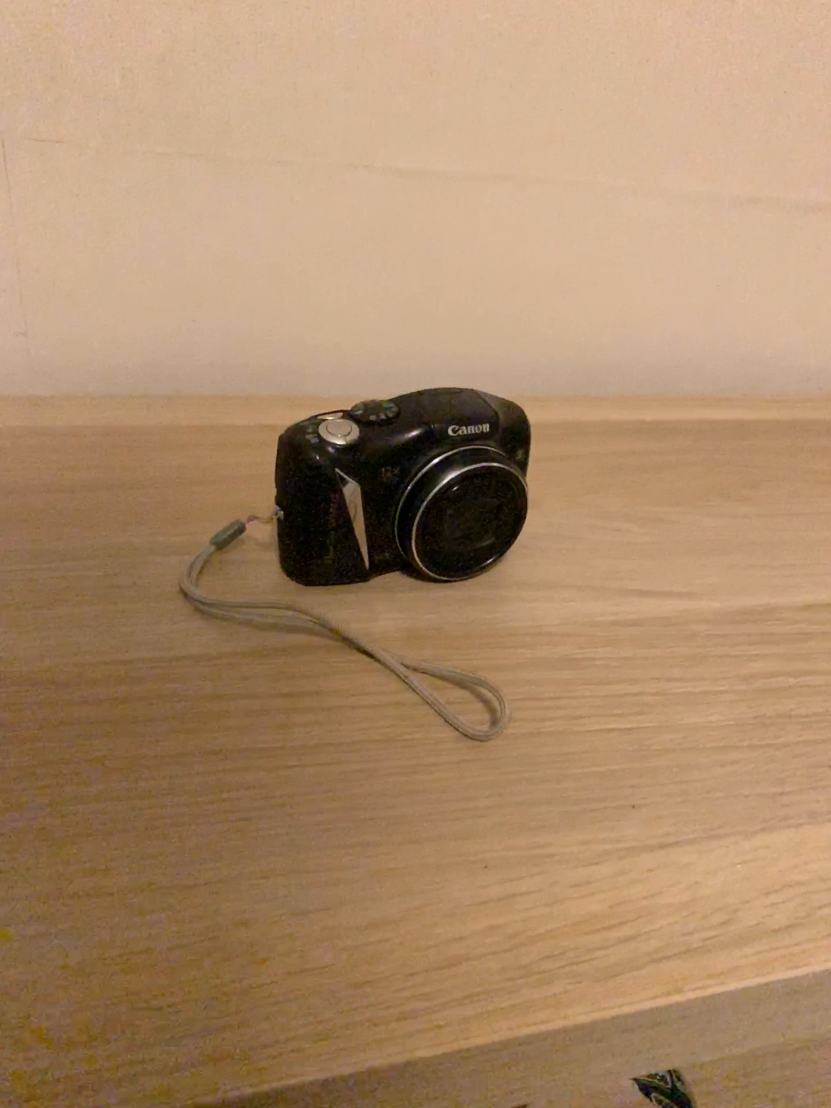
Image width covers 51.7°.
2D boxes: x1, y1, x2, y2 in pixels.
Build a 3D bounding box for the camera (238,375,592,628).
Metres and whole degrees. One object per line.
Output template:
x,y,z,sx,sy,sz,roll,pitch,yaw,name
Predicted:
-0.002,-0.027,0.348,0.120,0.059,0.068,-12,36,-29,camera
